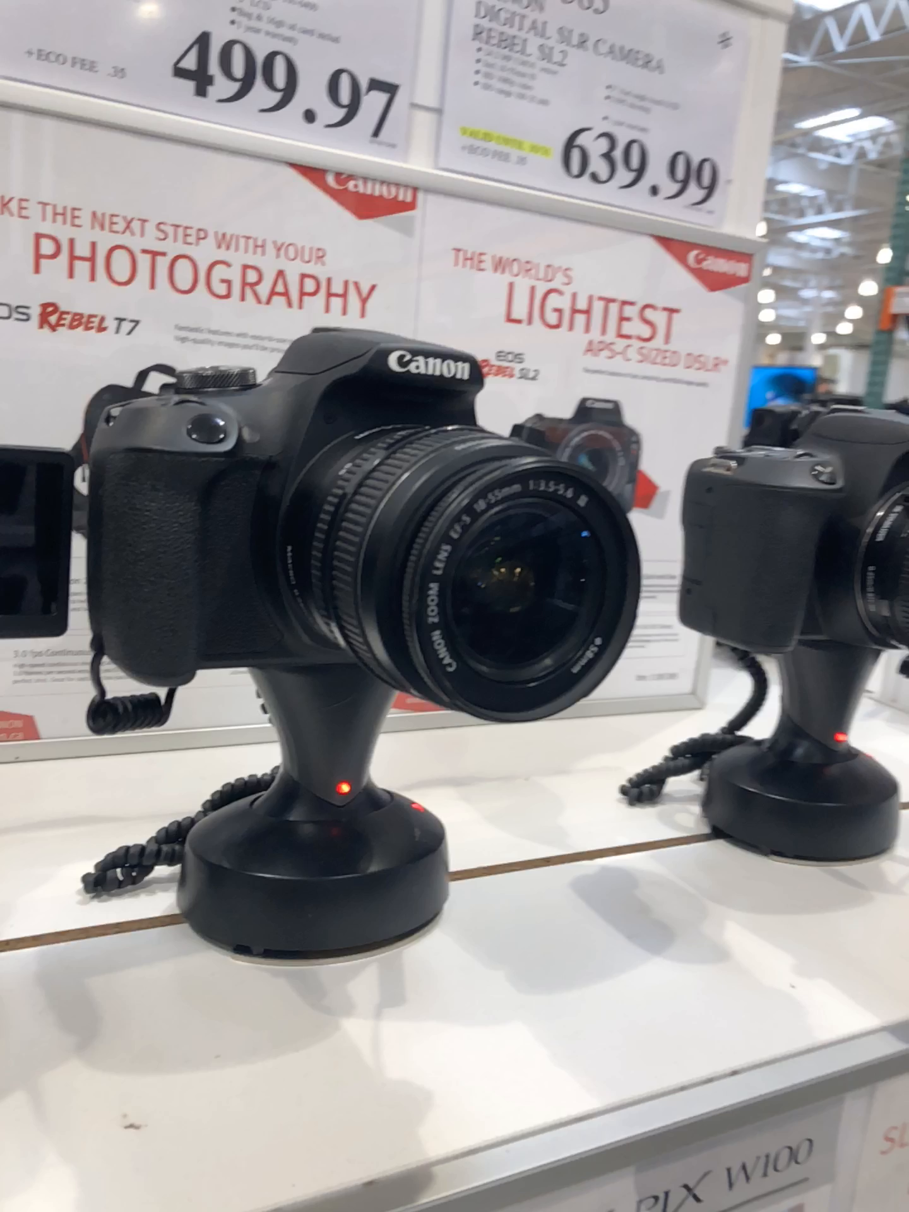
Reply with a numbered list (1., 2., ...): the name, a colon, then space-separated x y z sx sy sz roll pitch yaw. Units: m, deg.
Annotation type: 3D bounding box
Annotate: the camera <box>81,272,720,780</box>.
1. camera: -0.029 -0.029 0.286 0.130 0.100 0.140 0 12 -26
